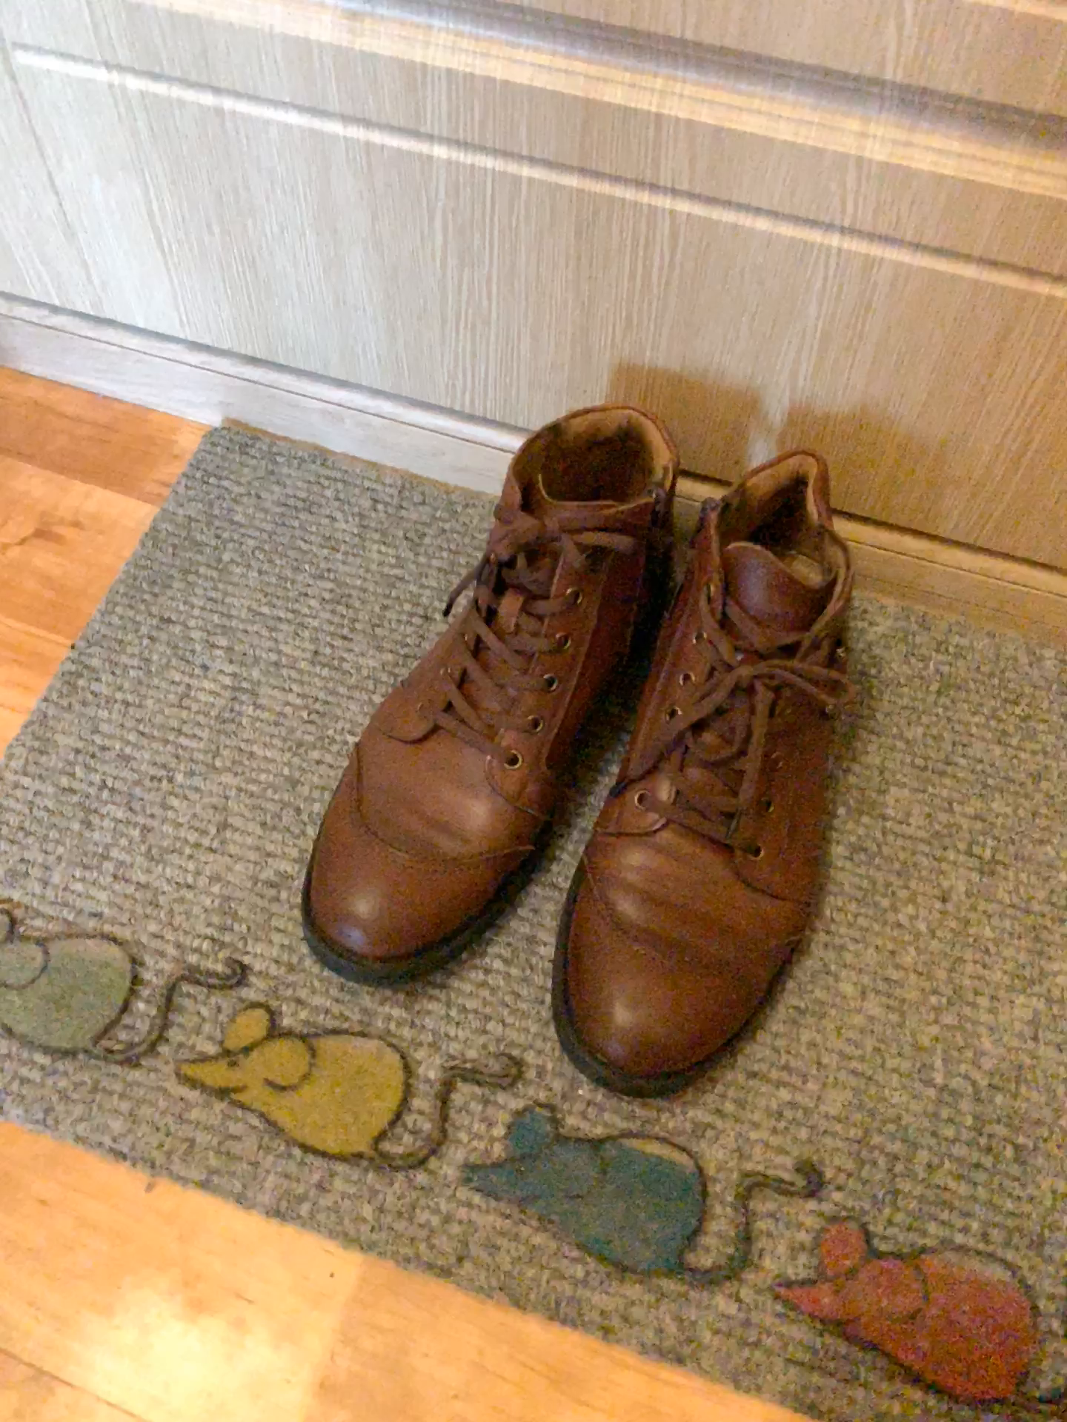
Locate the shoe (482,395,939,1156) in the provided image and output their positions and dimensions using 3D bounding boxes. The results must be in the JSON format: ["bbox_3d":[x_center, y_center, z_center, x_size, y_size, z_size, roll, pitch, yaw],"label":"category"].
[{"bbox_3d":[0.076,0.022,0.462,0.110,0.140,0.271,16,60,8],"label":"shoe"}]

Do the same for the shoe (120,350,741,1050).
[{"bbox_3d":[-0.029,-0.009,0.481,0.110,0.140,0.260,29,63,15],"label":"shoe"}]
